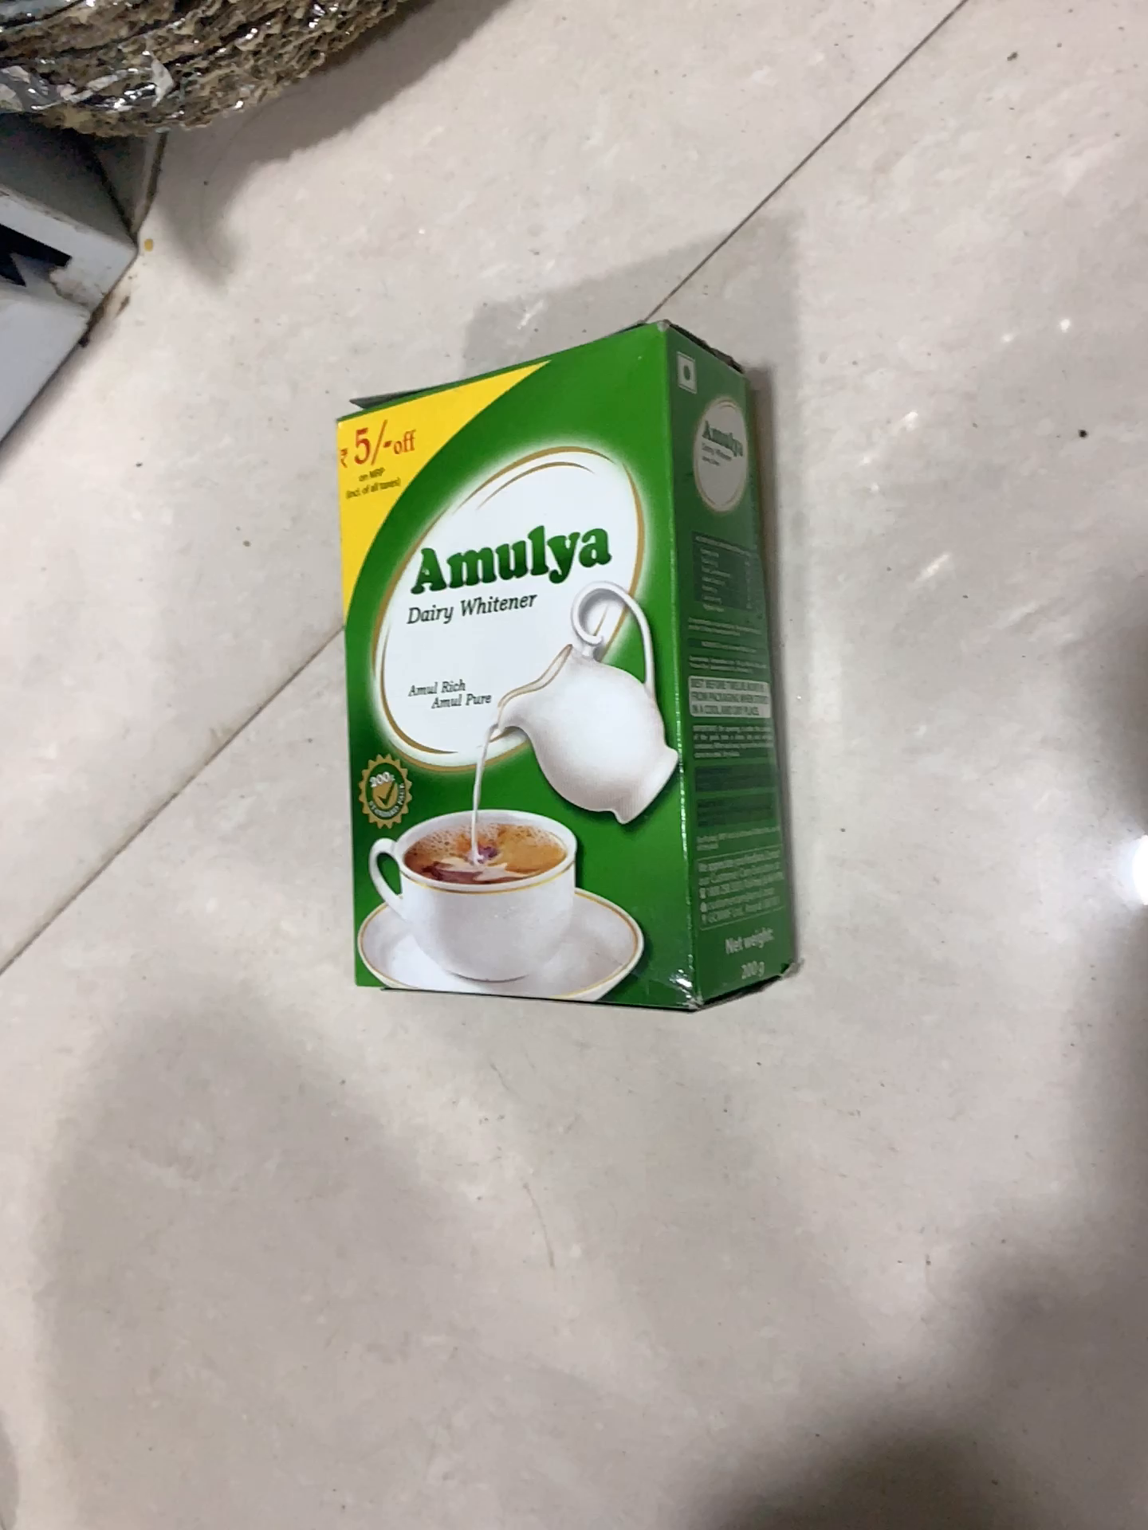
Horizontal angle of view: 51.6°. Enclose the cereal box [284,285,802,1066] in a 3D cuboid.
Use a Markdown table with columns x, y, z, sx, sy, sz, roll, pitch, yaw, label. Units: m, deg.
| x | y | z | sx | sy | sz | roll | pitch | yaw | label |
| --- | --- | --- | --- | --- | --- | --- | --- | --- | --- |
| -0.007 | -0.014 | 0.261 | 0.090 | 0.060 | 0.140 | -3 | 89 | 32 | cereal box |
